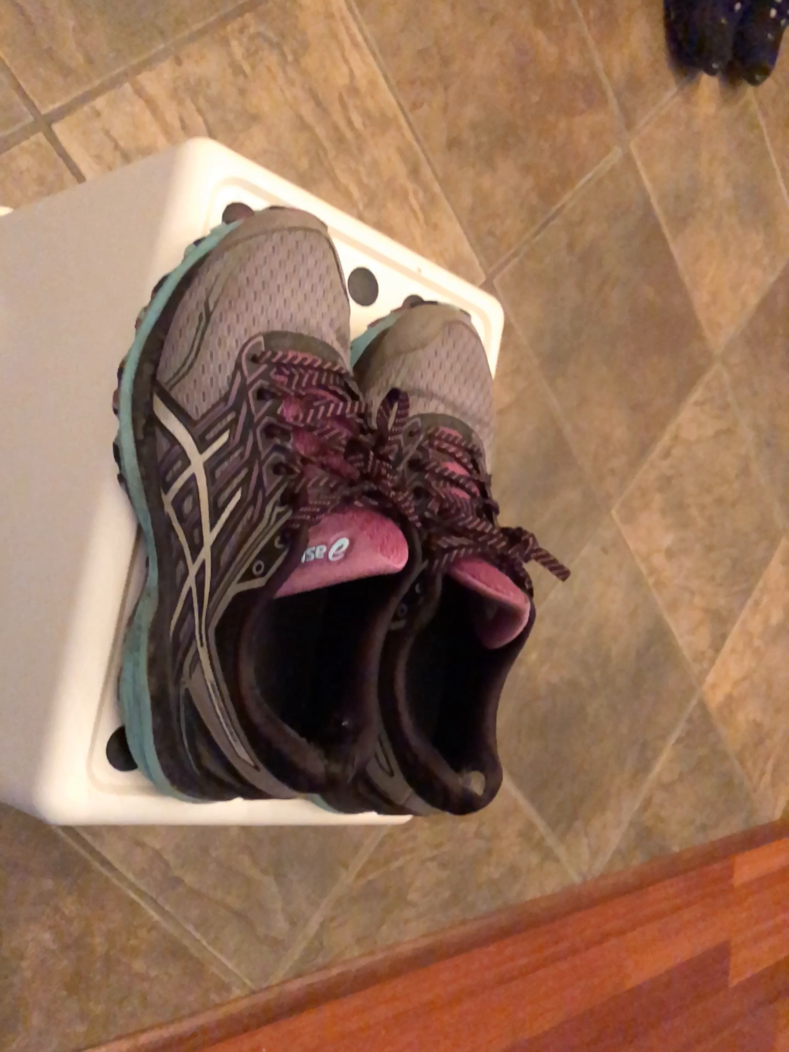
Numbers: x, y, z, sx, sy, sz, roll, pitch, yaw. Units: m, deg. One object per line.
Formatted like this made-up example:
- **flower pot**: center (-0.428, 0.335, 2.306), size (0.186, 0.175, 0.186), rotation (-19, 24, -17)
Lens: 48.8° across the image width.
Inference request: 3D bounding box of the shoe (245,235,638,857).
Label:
- **shoe**: center (0.024, 0.012, 0.439), size (0.110, 0.120, 0.260), rotation (14, 82, -39)

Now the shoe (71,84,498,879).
- **shoe**: center (-0.047, -0.013, 0.364), size (0.110, 0.120, 0.260), rotation (6, 87, -40)
